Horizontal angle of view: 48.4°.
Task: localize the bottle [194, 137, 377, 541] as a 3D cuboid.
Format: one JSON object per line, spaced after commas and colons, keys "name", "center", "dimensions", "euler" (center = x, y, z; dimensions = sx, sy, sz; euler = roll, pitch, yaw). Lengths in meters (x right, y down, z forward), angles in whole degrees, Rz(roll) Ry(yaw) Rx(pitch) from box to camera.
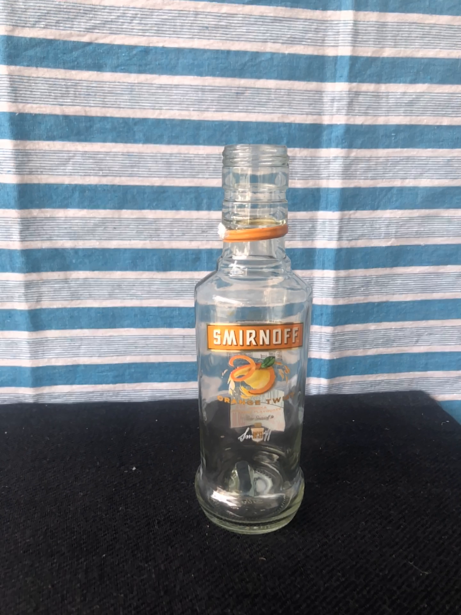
{"name": "bottle", "center": [0.020, 0.014, 0.232], "dimensions": [0.060, 0.169, 0.050], "euler": [4, 17, 3]}
